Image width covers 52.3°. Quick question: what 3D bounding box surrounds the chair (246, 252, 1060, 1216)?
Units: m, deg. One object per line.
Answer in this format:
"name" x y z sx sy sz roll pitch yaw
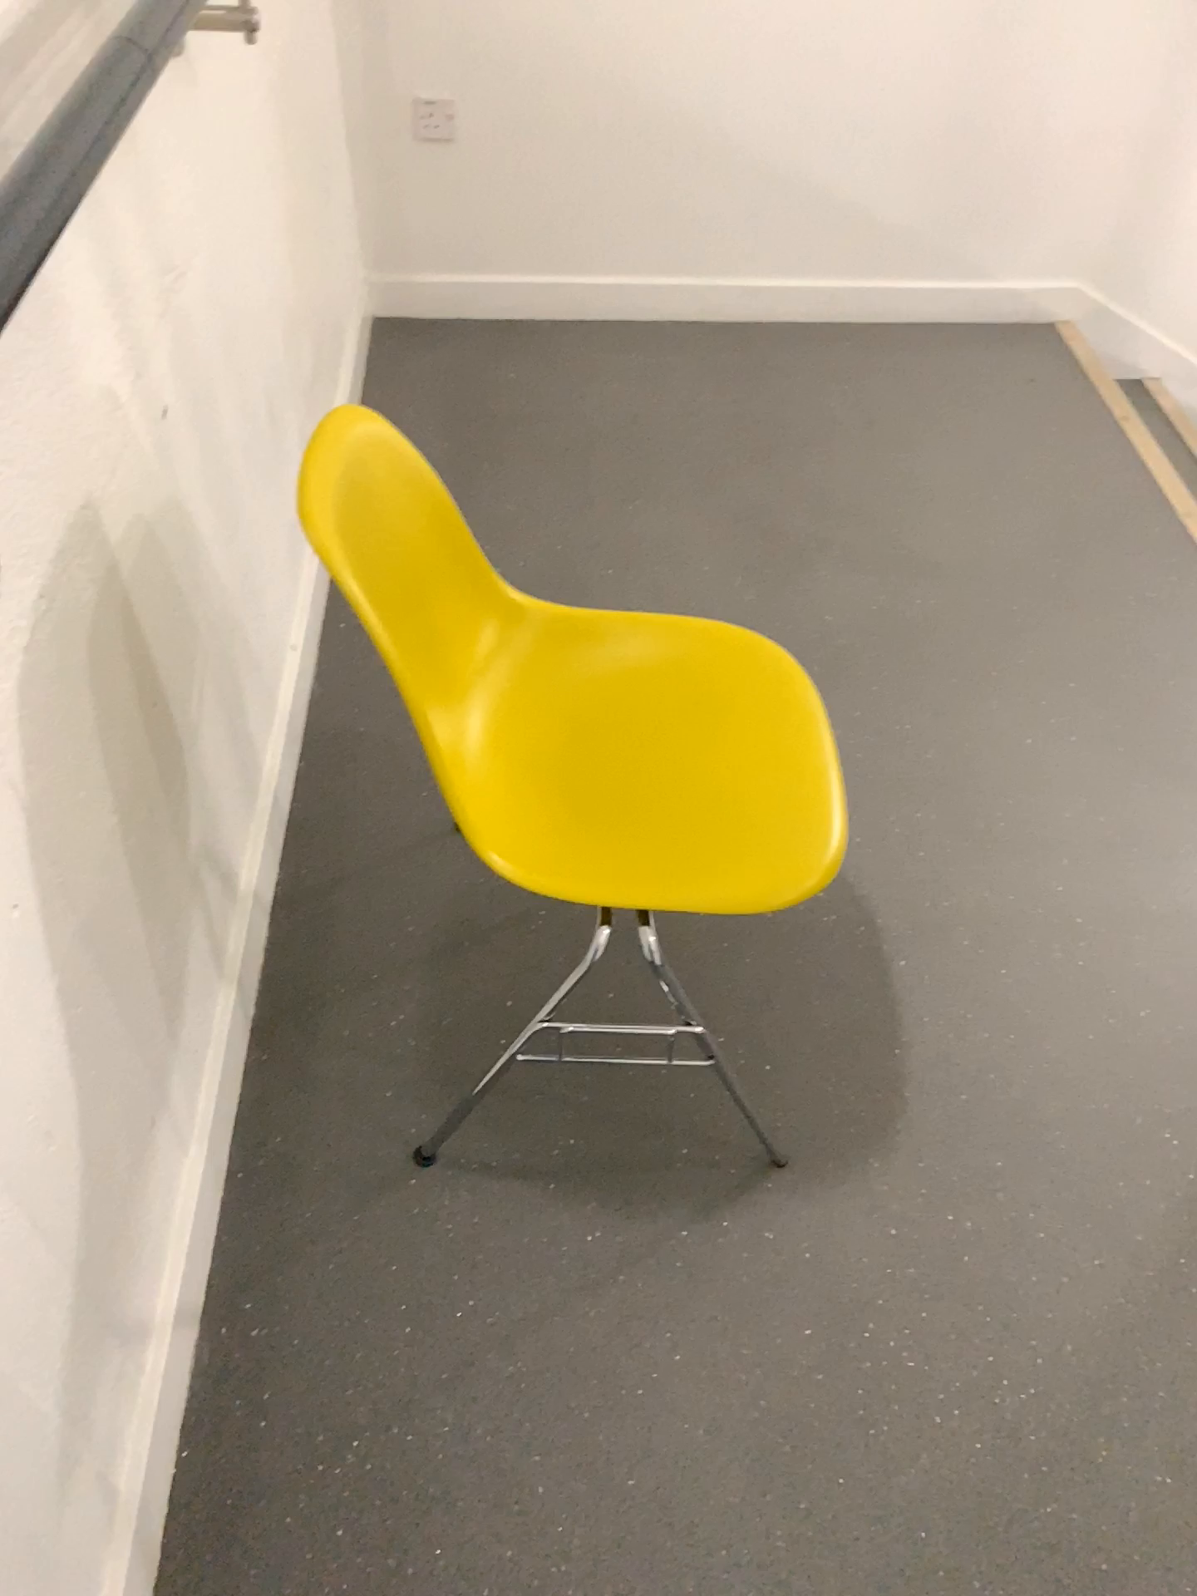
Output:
"chair" 0.016 -0.041 1.323 0.540 0.822 0.636 -1 47 -3
